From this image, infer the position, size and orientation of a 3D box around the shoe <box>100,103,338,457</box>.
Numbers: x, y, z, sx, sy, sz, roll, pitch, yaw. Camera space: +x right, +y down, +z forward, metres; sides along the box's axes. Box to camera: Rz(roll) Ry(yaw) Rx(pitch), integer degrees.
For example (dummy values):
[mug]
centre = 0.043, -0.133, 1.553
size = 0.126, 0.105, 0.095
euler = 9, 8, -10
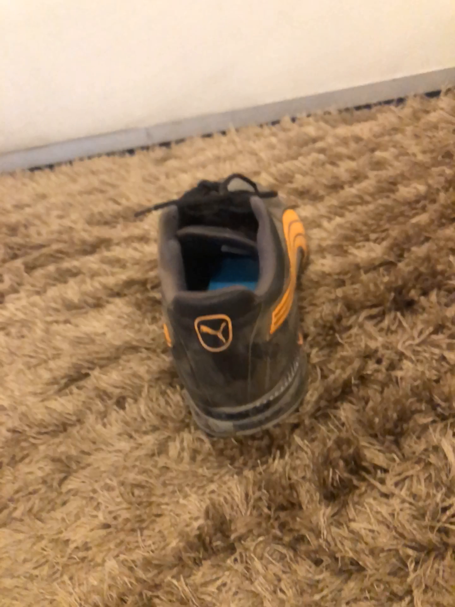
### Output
[shoe]
centre = 0.004, -0.044, 0.409
size = 0.122, 0.109, 0.302
euler = -6, 40, 6
